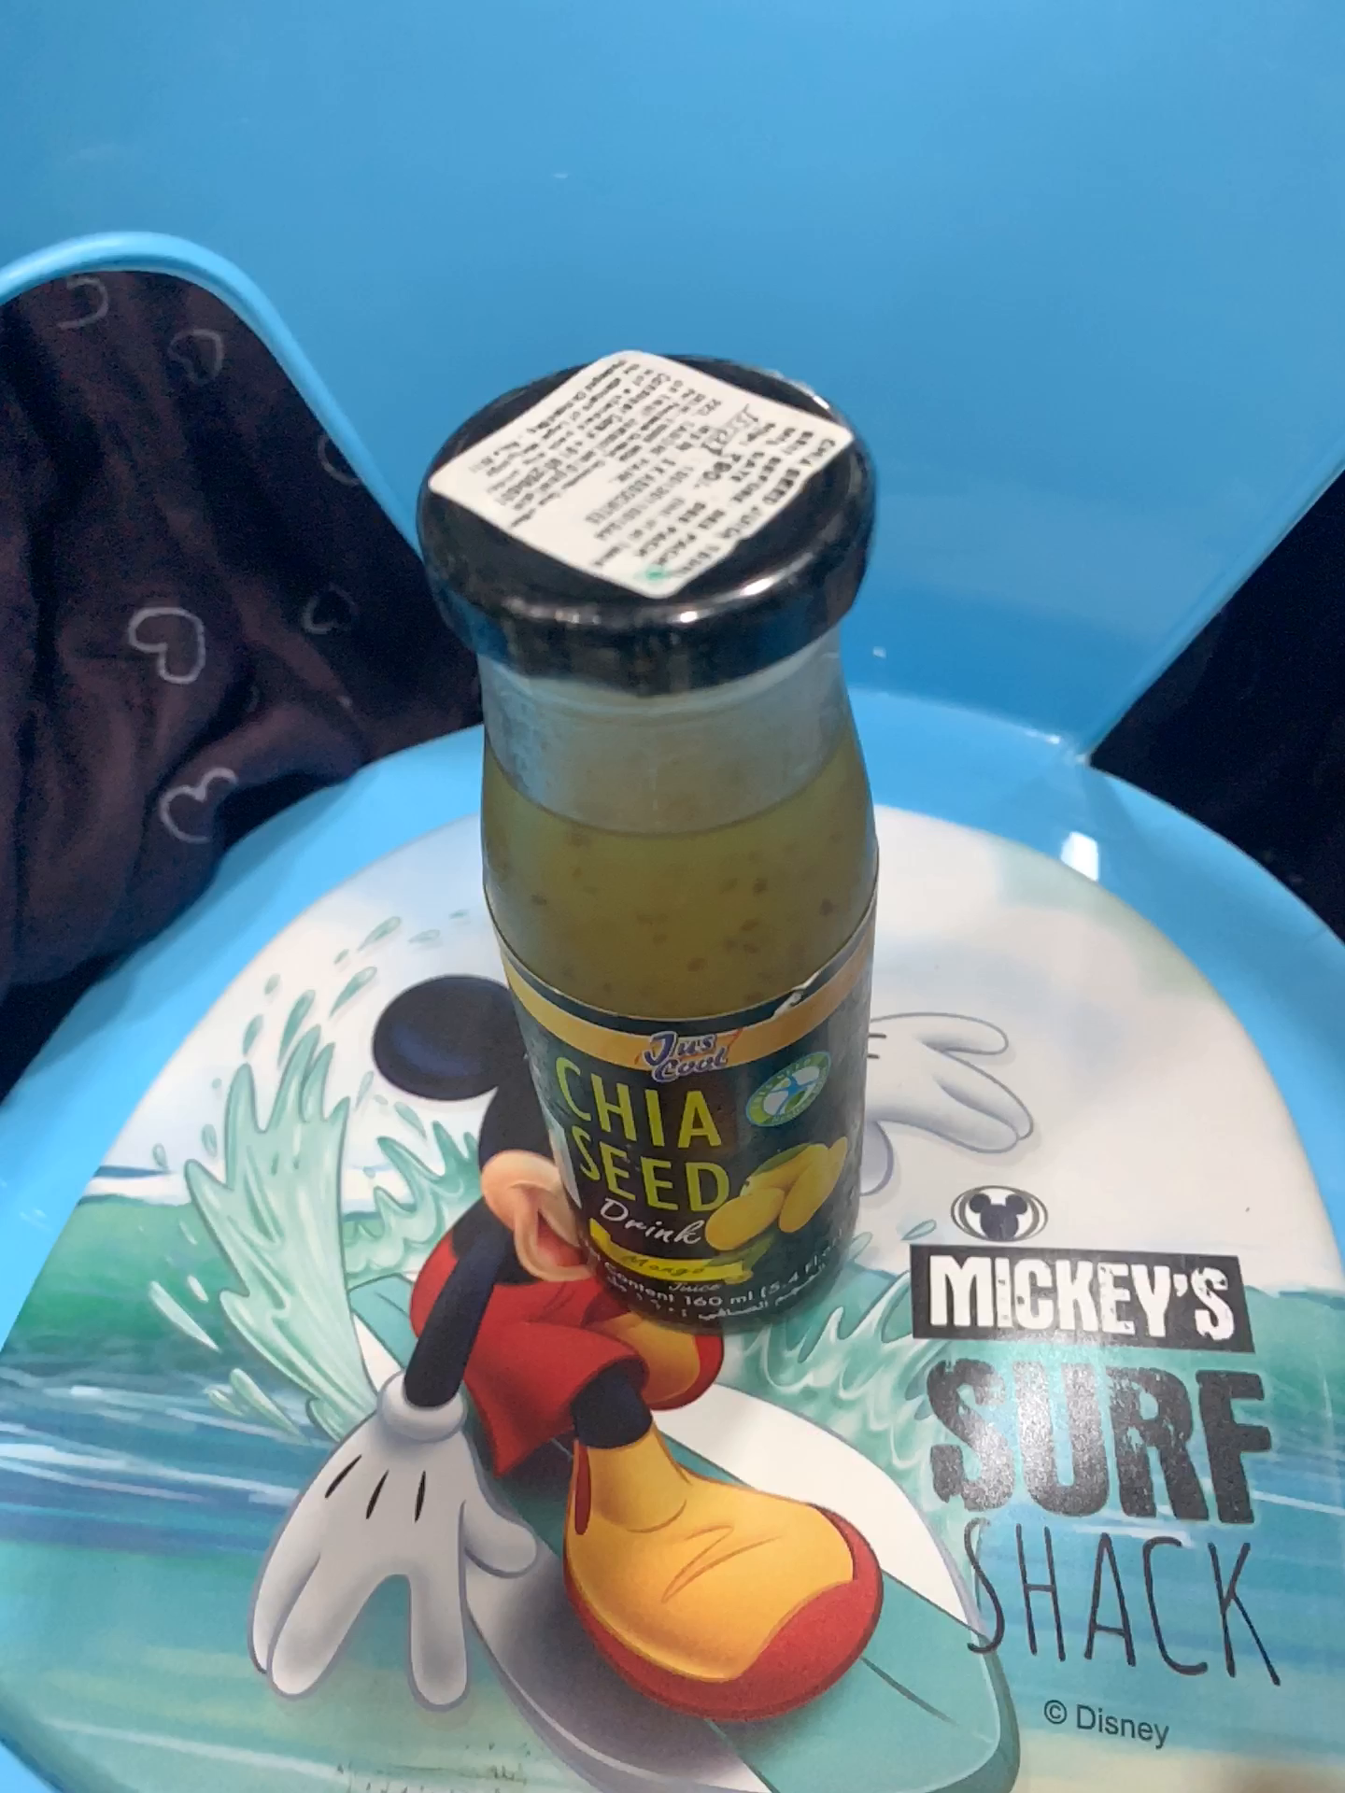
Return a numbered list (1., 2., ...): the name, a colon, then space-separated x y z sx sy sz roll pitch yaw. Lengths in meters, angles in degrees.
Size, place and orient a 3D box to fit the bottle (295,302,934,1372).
1. bottle: 0.002 0.003 0.184 0.050 0.140 0.050 -3 46 3
